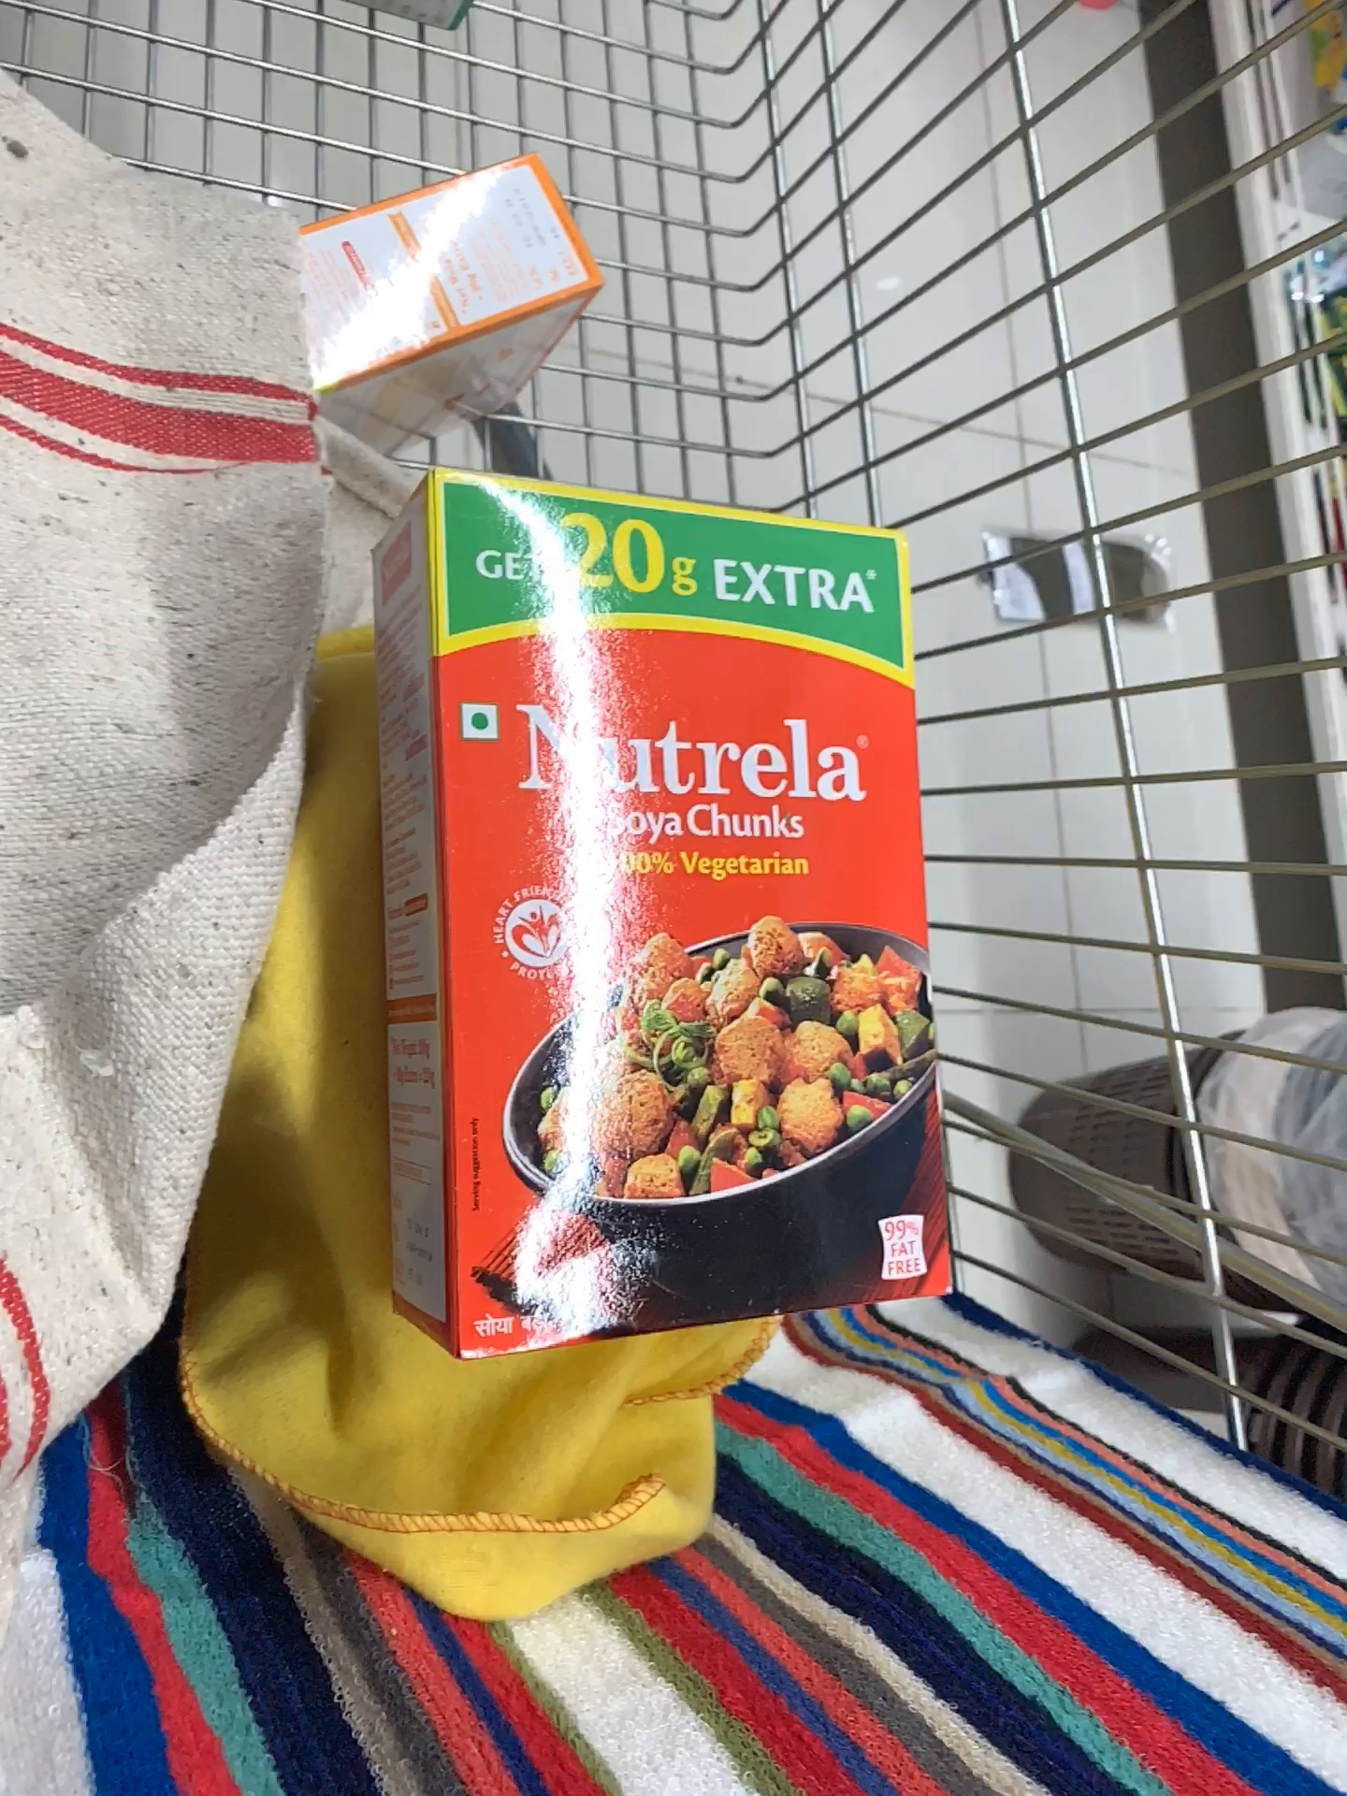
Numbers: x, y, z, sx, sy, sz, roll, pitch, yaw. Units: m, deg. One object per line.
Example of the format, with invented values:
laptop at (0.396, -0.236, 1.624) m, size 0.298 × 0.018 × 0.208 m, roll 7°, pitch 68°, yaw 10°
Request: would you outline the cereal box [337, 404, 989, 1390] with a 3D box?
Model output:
cereal box at (-0.005, 0.000, 0.304) m, size 0.120 × 0.060 × 0.180 m, roll 0°, pitch 84°, yaw -25°
